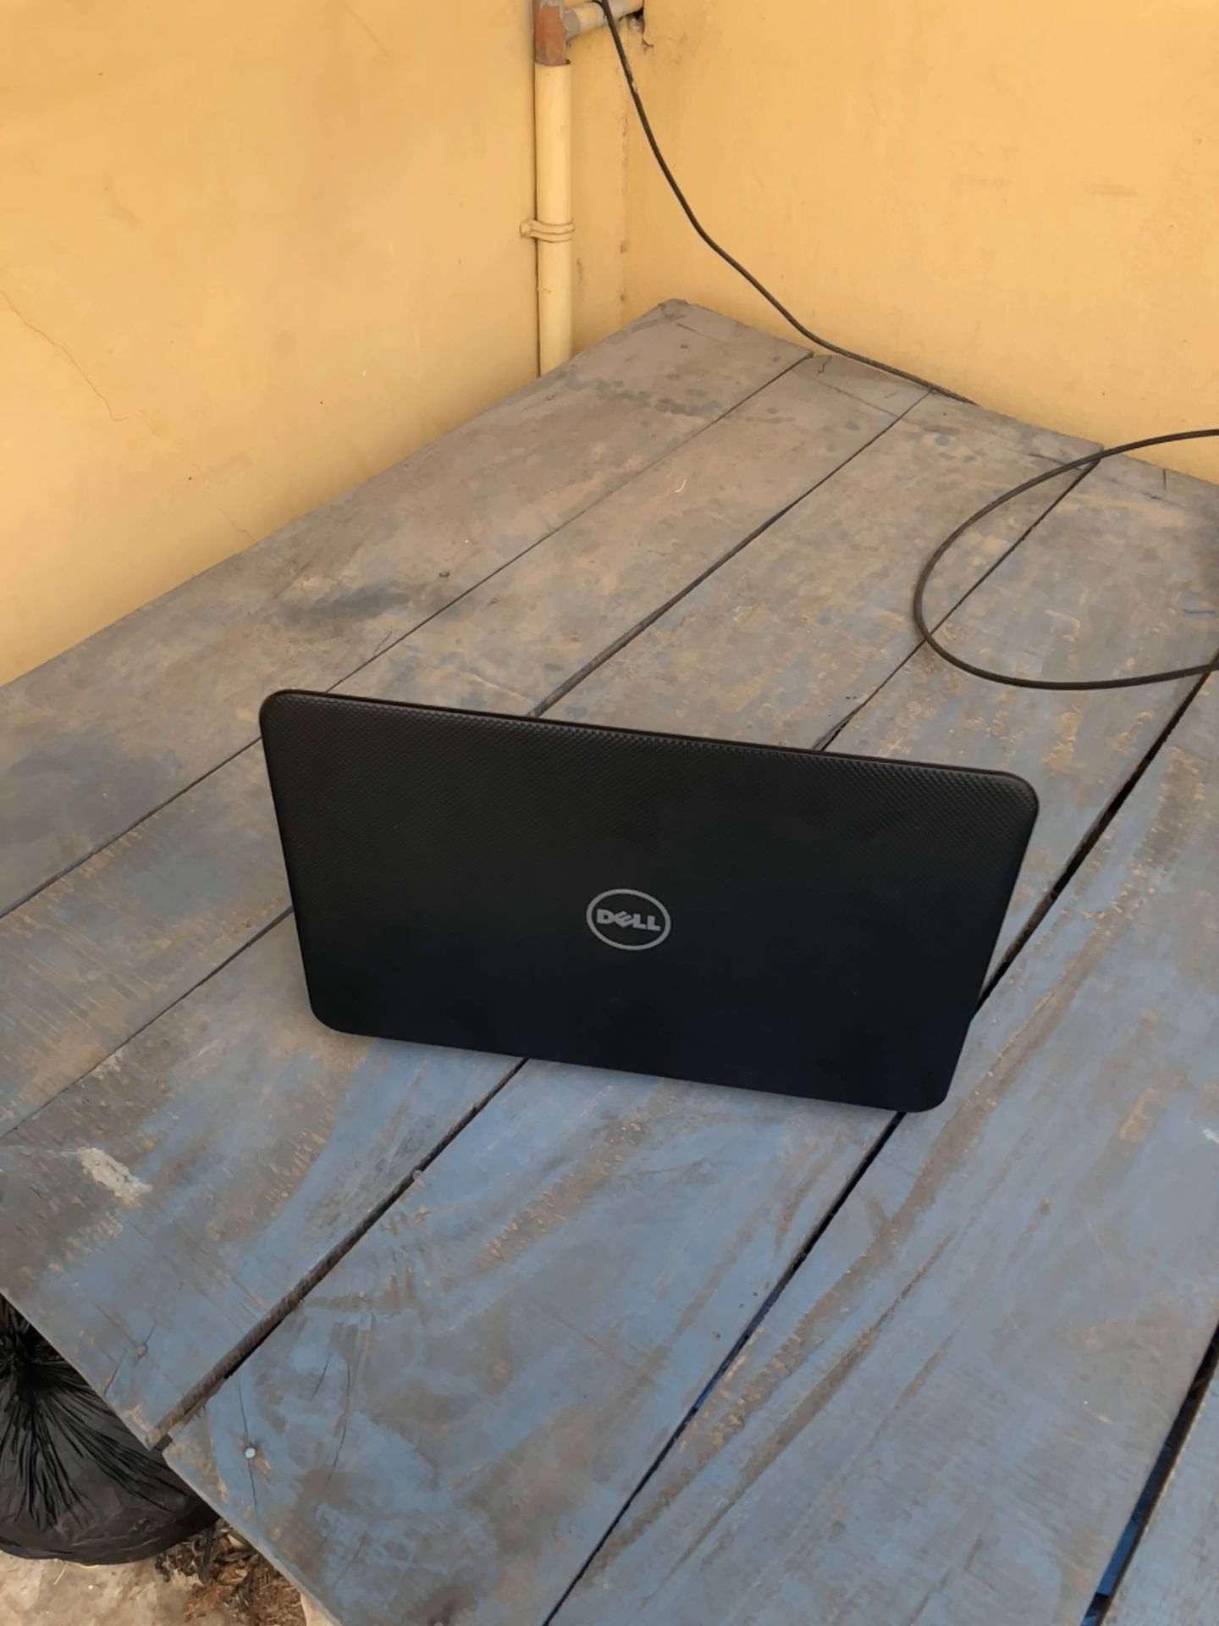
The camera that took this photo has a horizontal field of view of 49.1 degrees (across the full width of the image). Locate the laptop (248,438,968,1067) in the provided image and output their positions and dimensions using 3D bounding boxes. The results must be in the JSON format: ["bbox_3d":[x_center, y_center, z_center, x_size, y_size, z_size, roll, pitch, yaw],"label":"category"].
[{"bbox_3d":[0.015,-0.039,0.782,0.340,0.234,0.226,7,45,6],"label":"laptop"}]
